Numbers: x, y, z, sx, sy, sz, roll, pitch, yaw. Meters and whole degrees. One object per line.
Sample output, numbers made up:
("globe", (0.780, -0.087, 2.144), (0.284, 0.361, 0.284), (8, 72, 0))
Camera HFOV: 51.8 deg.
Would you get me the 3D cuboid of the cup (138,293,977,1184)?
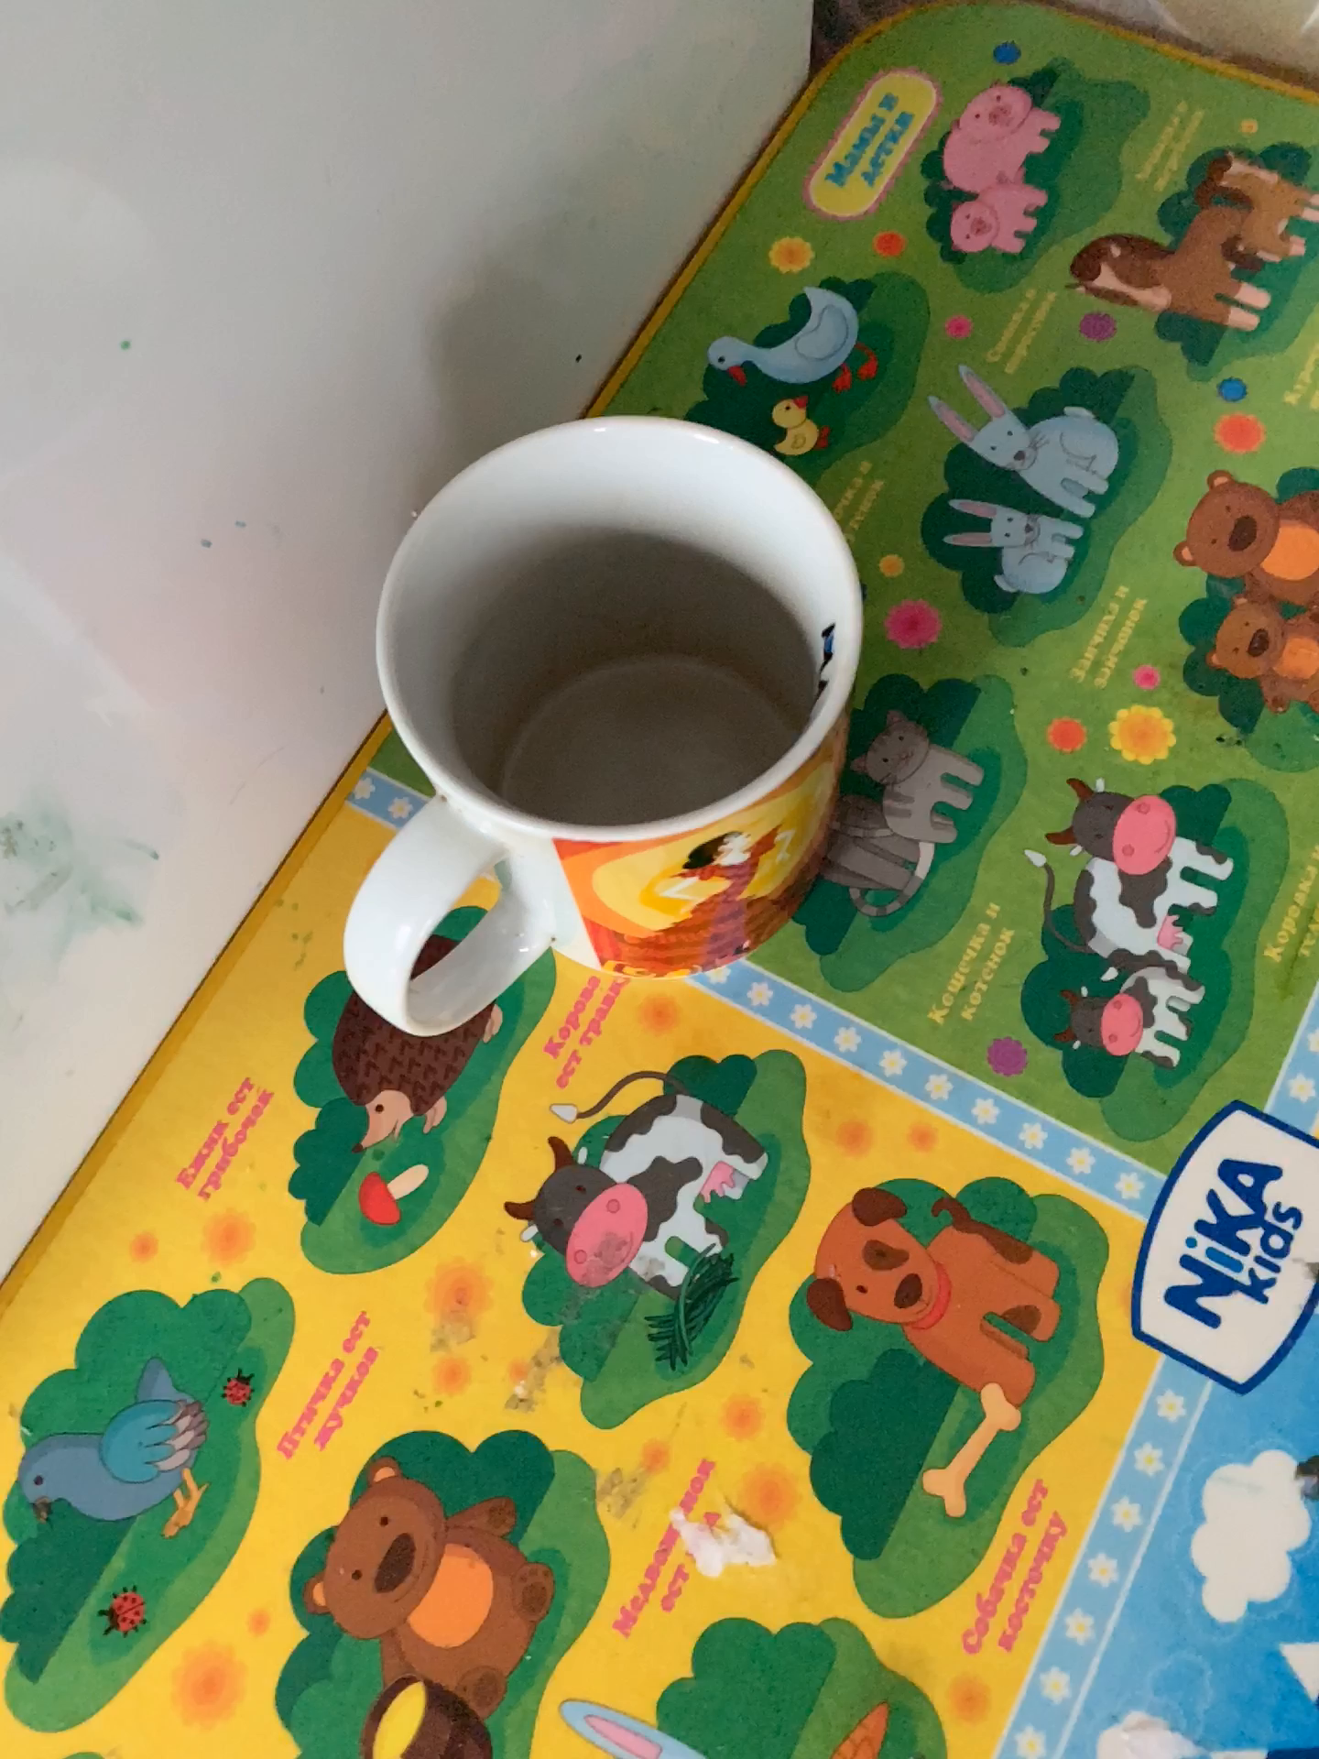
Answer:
("cup", (-0.012, -0.020, 0.264), (0.084, 0.098, 0.118), (30, 75, 13))
